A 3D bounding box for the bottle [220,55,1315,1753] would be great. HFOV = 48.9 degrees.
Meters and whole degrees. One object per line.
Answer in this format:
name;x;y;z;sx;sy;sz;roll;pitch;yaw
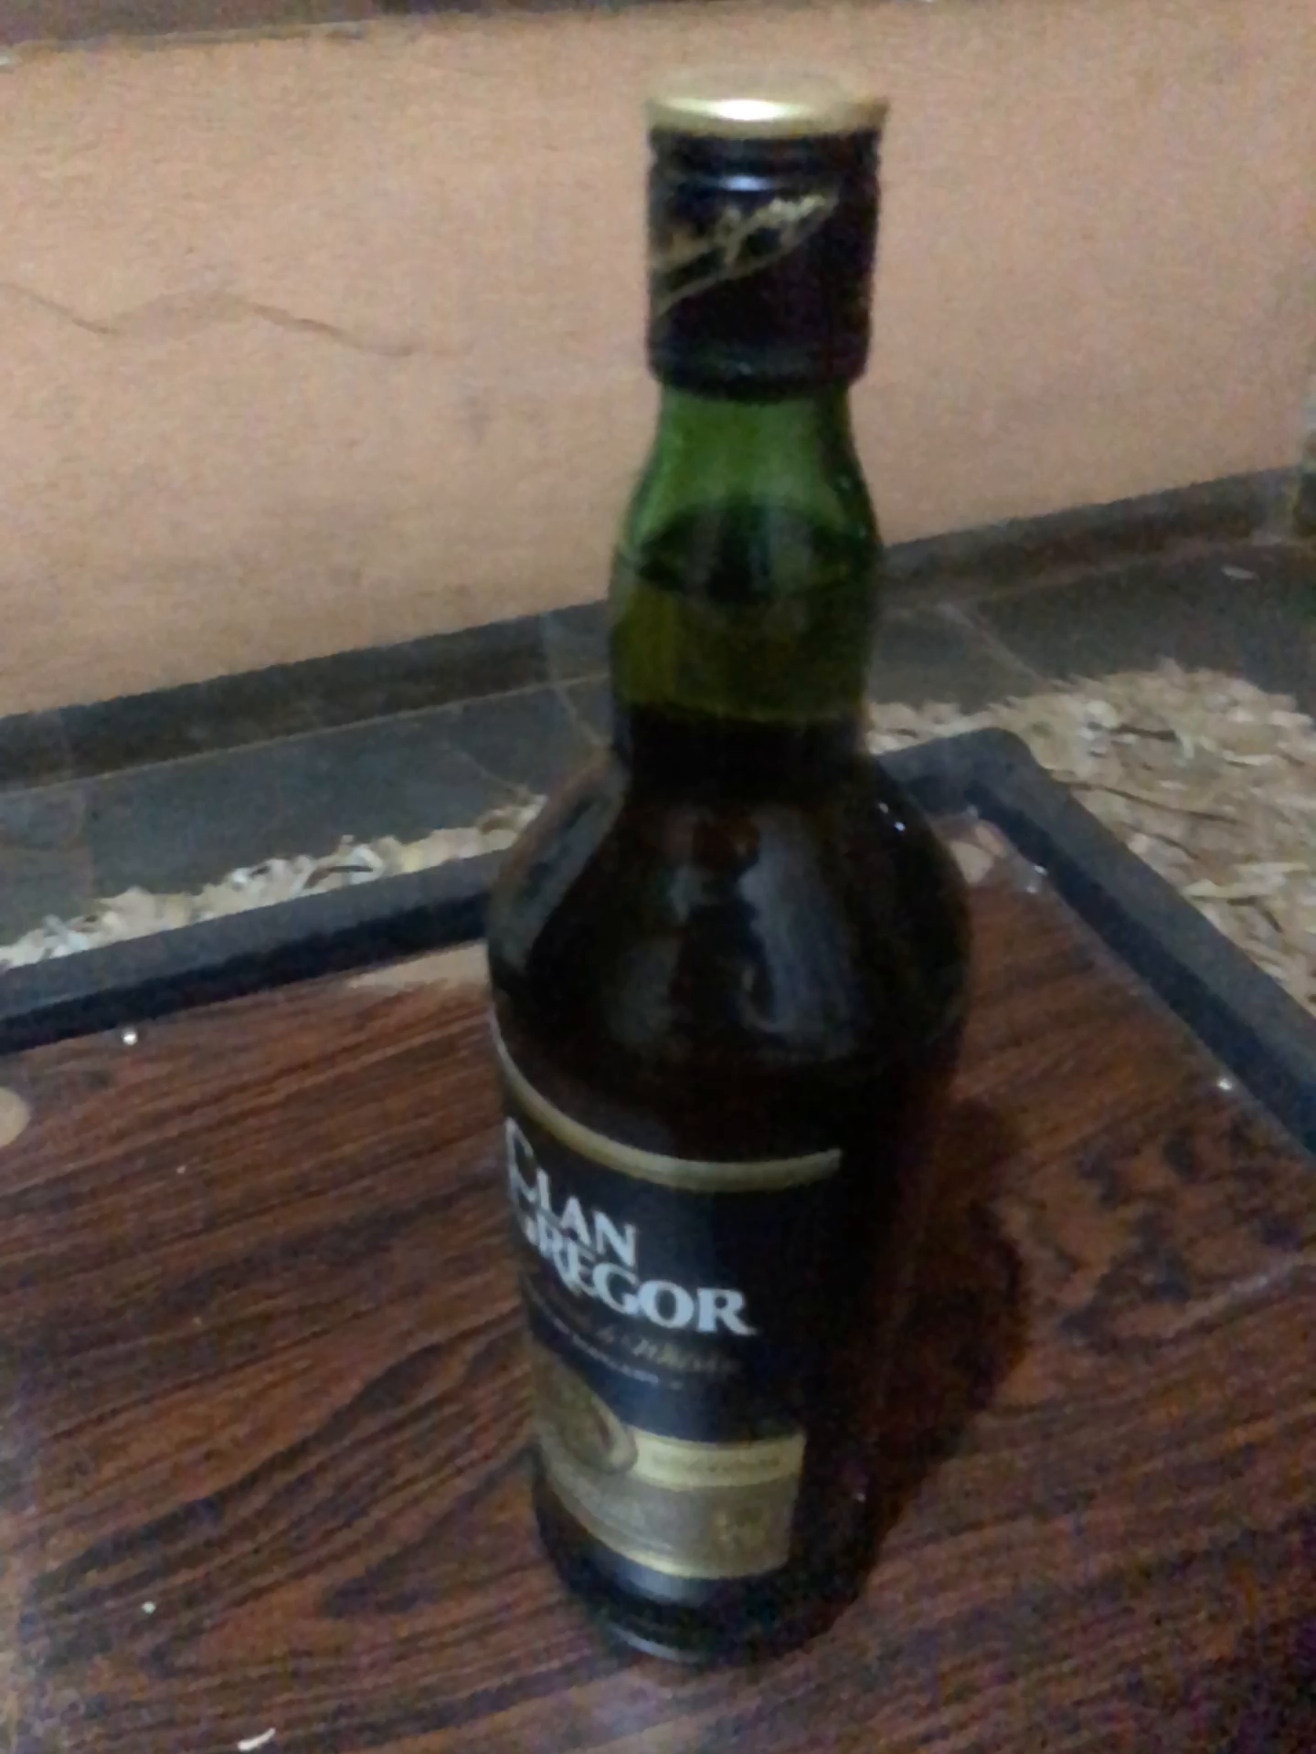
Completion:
bottle;0.017;0.033;0.272;0.100;0.308;0.100;-1;38;0
